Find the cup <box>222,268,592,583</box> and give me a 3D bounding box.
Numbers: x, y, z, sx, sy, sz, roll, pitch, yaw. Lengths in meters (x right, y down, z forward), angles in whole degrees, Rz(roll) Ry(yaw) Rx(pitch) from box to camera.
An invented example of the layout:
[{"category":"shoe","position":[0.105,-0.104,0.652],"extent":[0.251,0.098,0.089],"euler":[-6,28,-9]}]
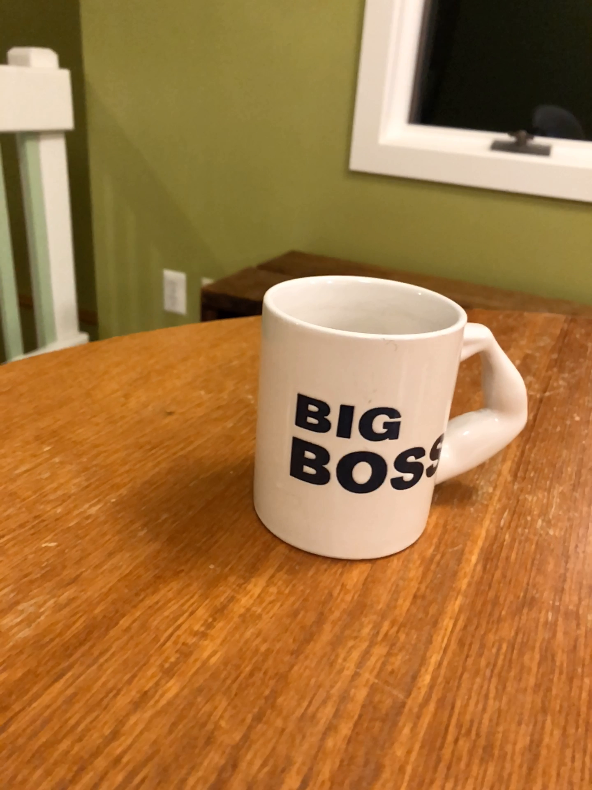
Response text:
[{"category":"cup","position":[0.046,0.004,0.300],"extent":[0.138,0.099,0.088],"euler":[-6,26,-21]}]
